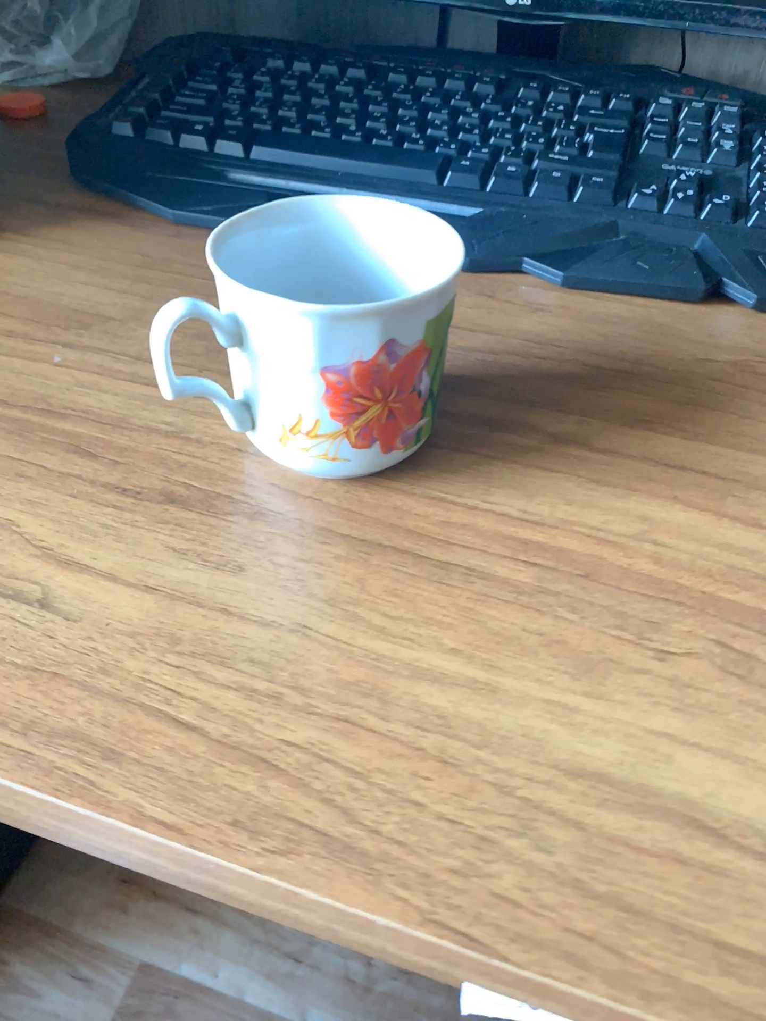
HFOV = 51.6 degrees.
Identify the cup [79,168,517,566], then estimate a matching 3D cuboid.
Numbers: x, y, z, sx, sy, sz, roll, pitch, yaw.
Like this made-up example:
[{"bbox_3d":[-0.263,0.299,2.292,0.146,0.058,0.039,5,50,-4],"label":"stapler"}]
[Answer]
[{"bbox_3d":[-0.025,-0.053,0.263,0.110,0.080,0.070,-25,48,-28],"label":"cup"}]
